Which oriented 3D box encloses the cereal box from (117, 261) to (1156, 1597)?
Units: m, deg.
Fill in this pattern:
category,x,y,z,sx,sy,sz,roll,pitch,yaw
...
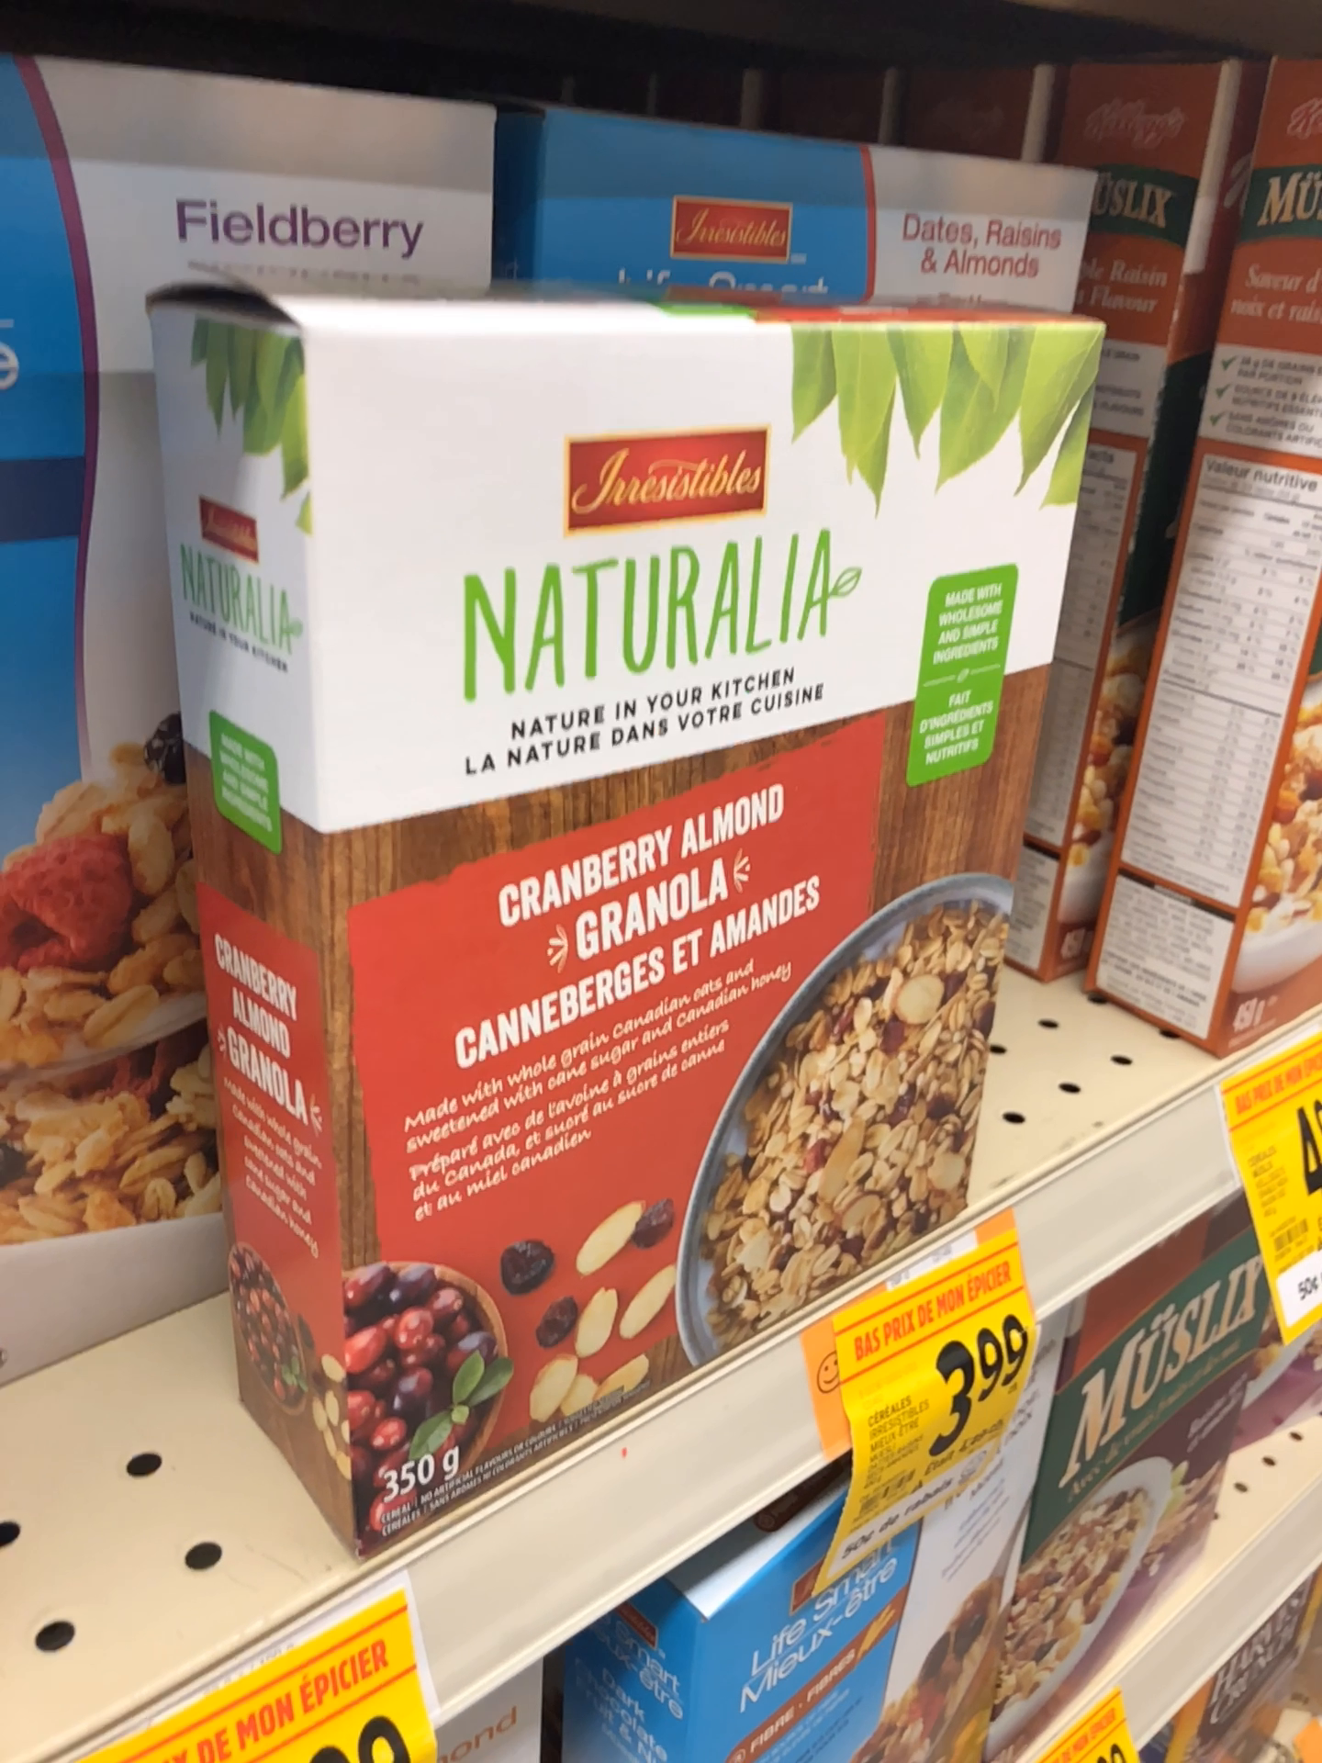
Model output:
category,x,y,z,sx,sy,sz,roll,pitch,yaw
cereal box,0.000,-0.002,0.283,0.171,0.208,0.060,-17,32,-38
